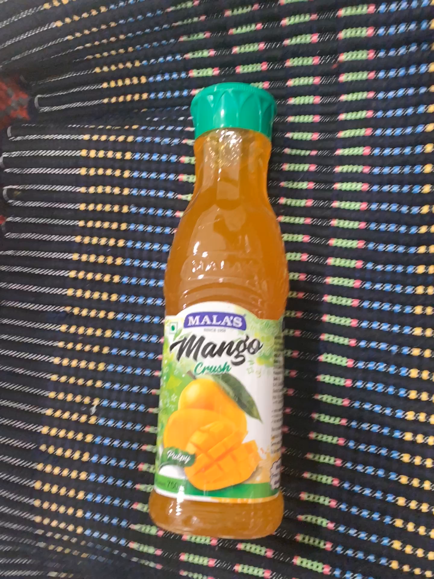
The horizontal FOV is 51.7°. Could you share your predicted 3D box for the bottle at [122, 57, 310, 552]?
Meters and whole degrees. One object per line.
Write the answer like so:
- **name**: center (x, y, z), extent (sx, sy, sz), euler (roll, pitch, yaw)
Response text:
- **bottle**: center (0.008, 0.003, 0.265), extent (0.080, 0.090, 0.240), euler (2, 81, 7)
